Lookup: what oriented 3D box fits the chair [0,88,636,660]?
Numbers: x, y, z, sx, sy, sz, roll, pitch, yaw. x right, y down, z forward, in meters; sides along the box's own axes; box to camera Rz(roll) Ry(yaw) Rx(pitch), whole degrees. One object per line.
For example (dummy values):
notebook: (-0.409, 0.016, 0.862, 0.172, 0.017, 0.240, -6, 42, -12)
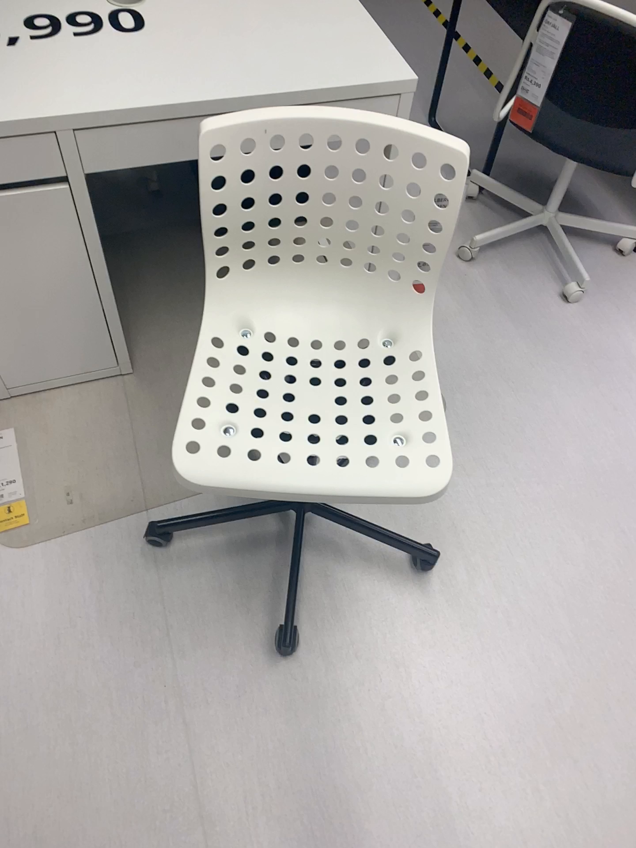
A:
chair: (-0.023, -0.024, 1.178, 0.680, 0.788, 0.672, 1, 55, -4)
